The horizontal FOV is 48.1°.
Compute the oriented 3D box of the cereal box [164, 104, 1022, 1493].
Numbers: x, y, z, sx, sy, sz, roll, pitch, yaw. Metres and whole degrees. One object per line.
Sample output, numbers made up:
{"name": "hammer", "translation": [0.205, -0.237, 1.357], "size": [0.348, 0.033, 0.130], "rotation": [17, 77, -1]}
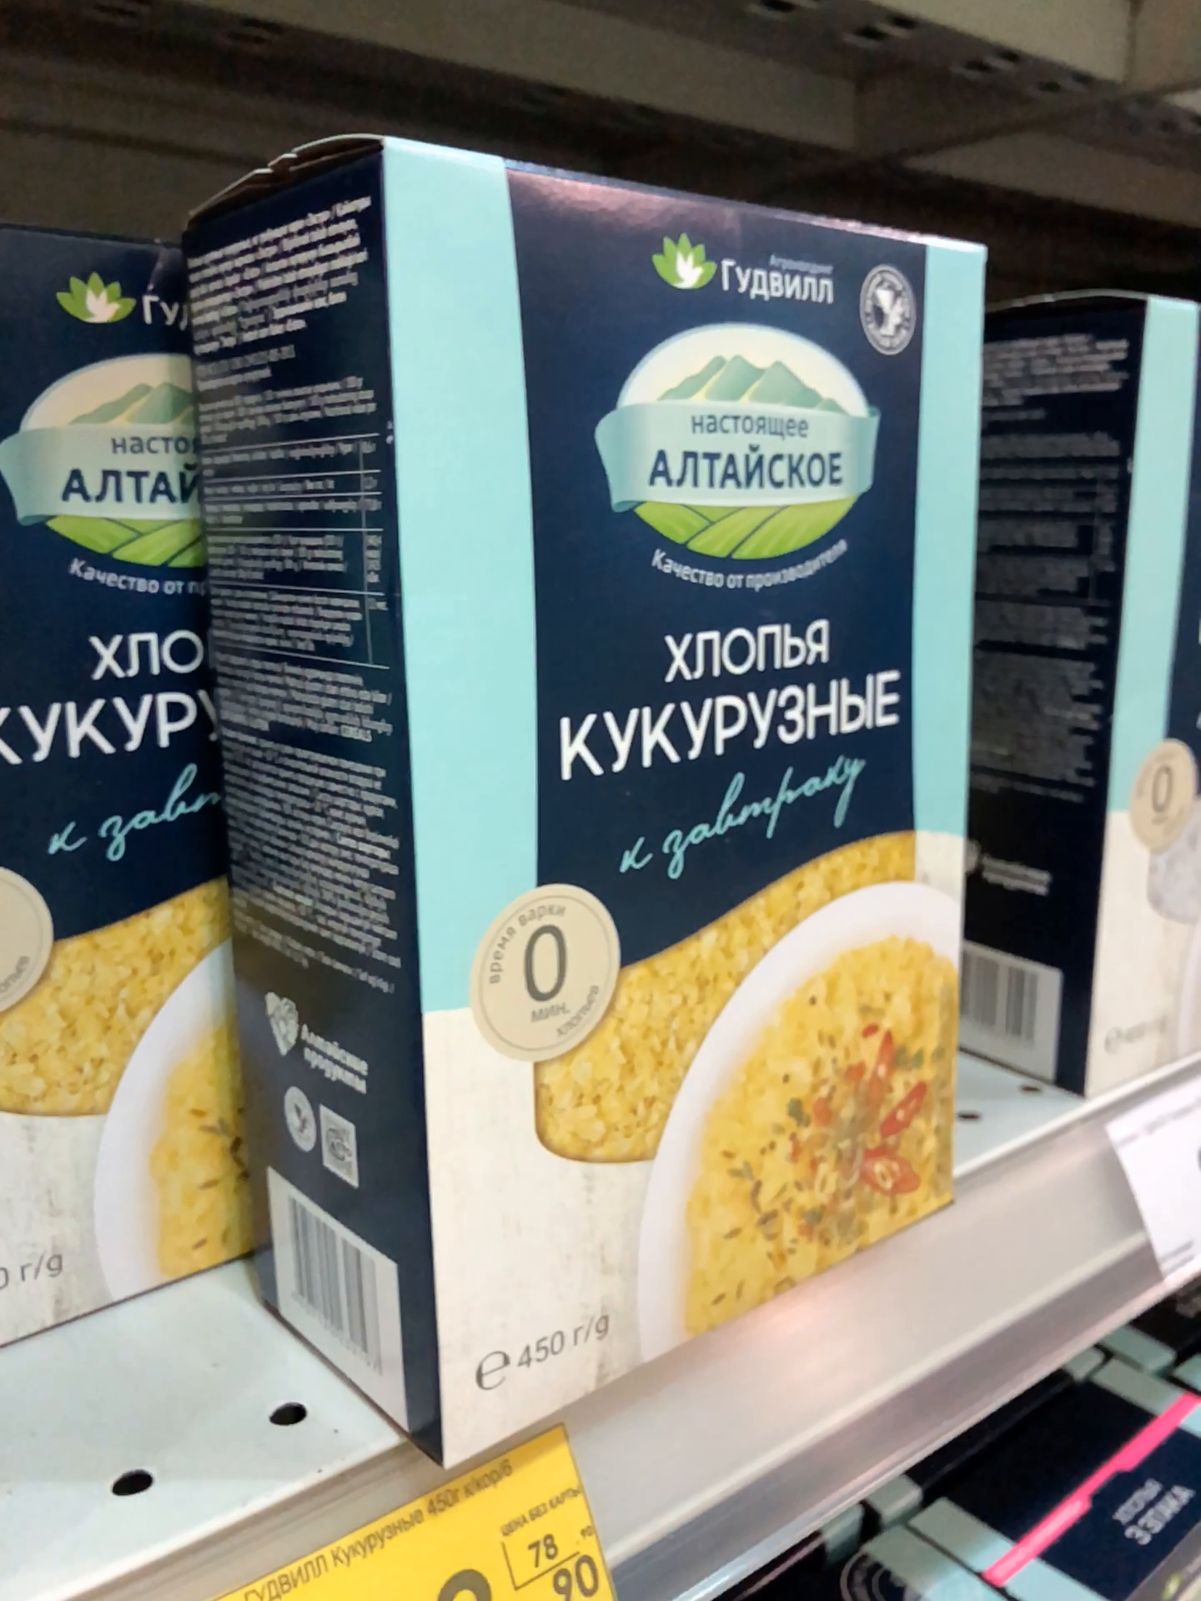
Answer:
{"name": "cereal box", "translation": [0.008, -0.006, 0.247], "size": [0.140, 0.189, 0.060], "rotation": [-11, 14, -39]}
